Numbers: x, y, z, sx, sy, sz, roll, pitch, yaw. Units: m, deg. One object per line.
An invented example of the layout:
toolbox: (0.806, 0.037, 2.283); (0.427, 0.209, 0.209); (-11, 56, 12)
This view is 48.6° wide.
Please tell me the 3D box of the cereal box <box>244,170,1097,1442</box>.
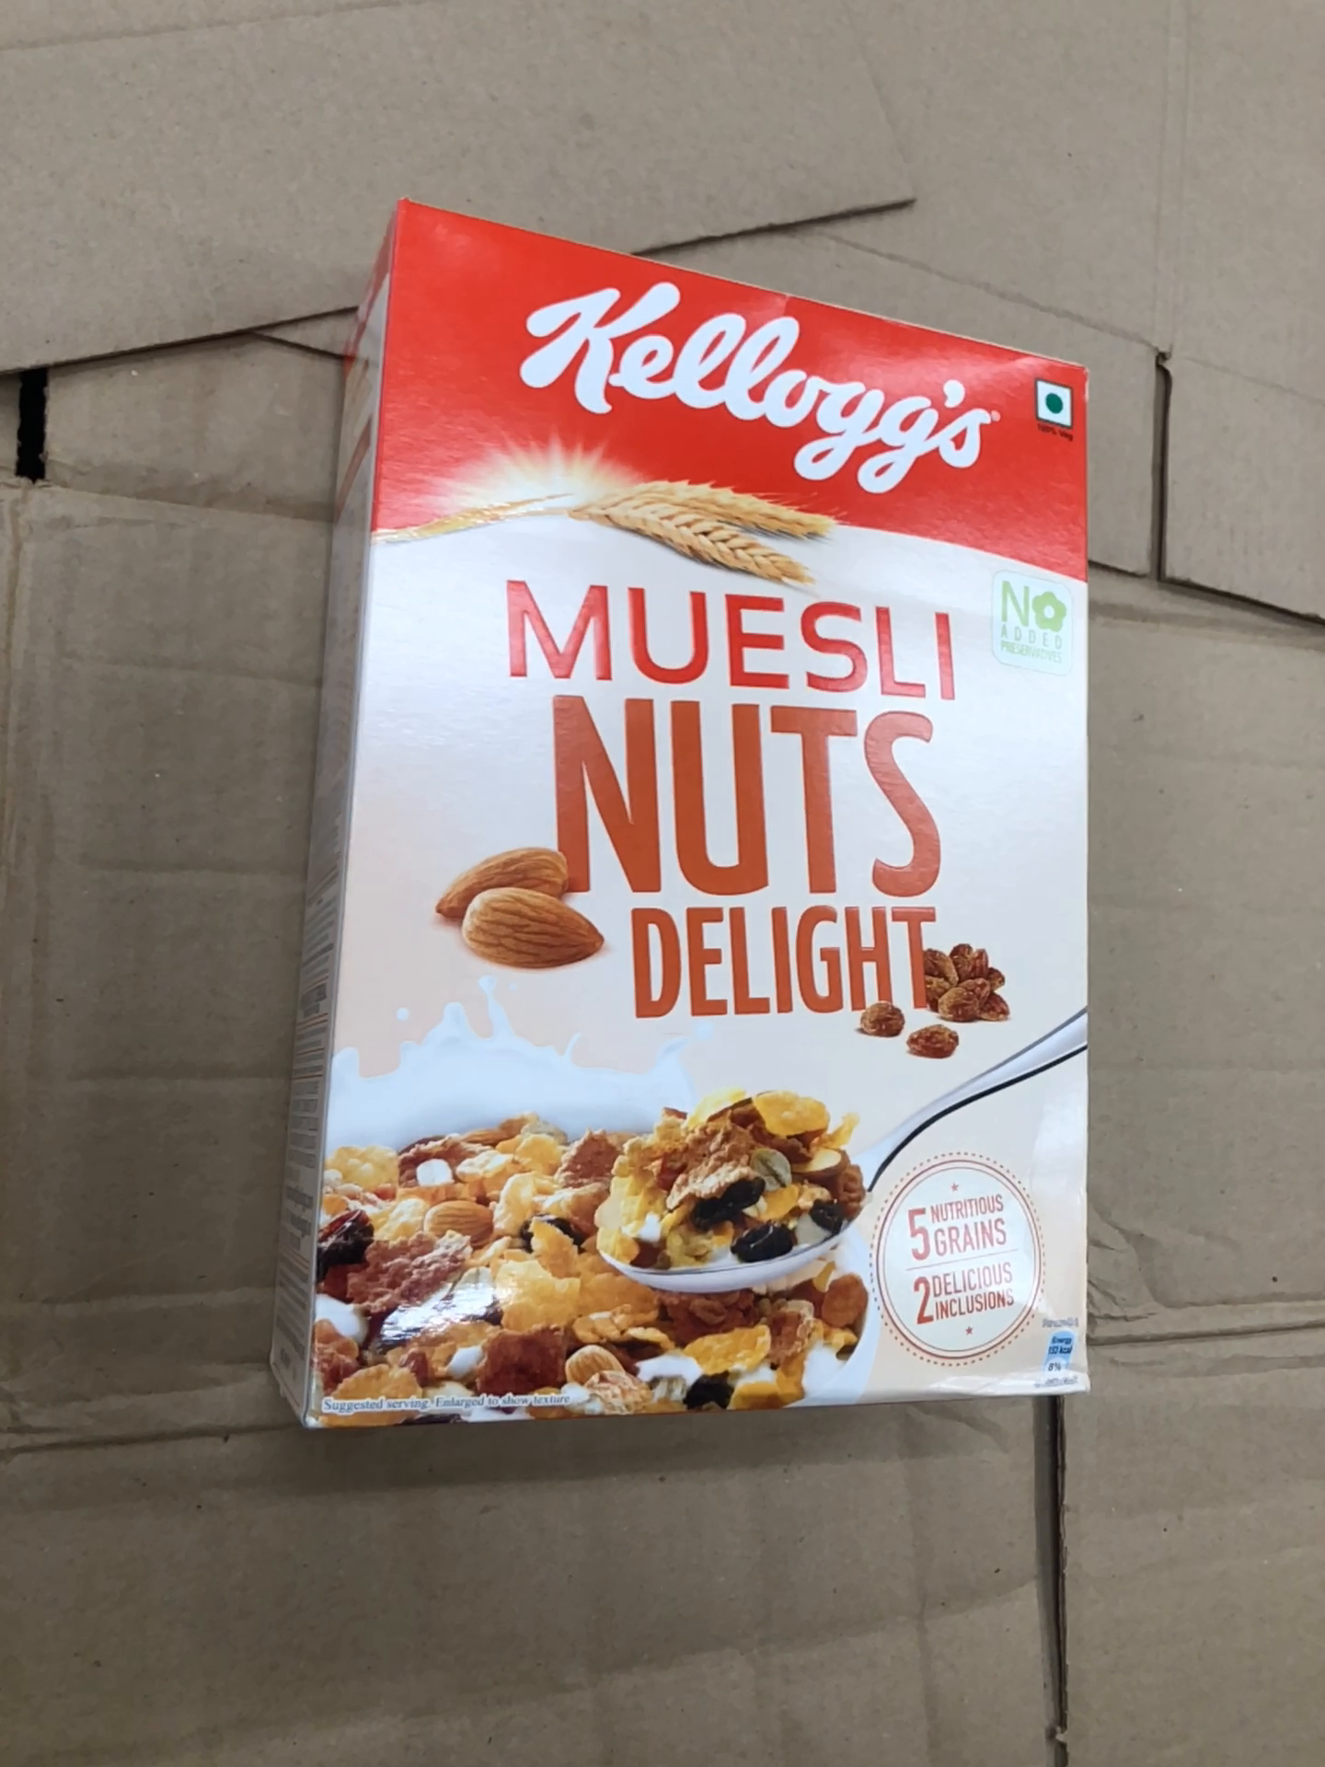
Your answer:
cereal box: (0.006, -0.012, 0.356); (0.181, 0.070, 0.260); (6, 79, -20)
